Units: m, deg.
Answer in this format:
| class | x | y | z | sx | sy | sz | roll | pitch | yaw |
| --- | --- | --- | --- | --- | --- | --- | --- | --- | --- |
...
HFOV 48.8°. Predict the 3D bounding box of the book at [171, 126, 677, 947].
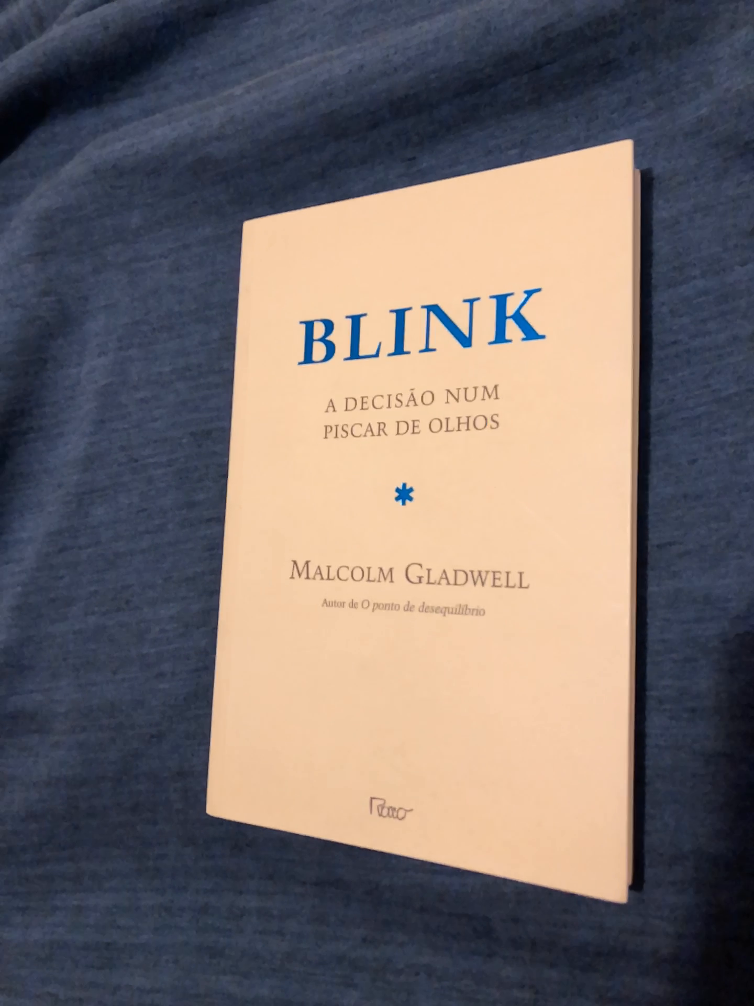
| class | x | y | z | sx | sy | sz | roll | pitch | yaw |
| --- | --- | --- | --- | --- | --- | --- | --- | --- | --- |
| book | 0.014 | 0.003 | 0.268 | 0.150 | 0.030 | 0.220 | -1 | 79 | 27 |
